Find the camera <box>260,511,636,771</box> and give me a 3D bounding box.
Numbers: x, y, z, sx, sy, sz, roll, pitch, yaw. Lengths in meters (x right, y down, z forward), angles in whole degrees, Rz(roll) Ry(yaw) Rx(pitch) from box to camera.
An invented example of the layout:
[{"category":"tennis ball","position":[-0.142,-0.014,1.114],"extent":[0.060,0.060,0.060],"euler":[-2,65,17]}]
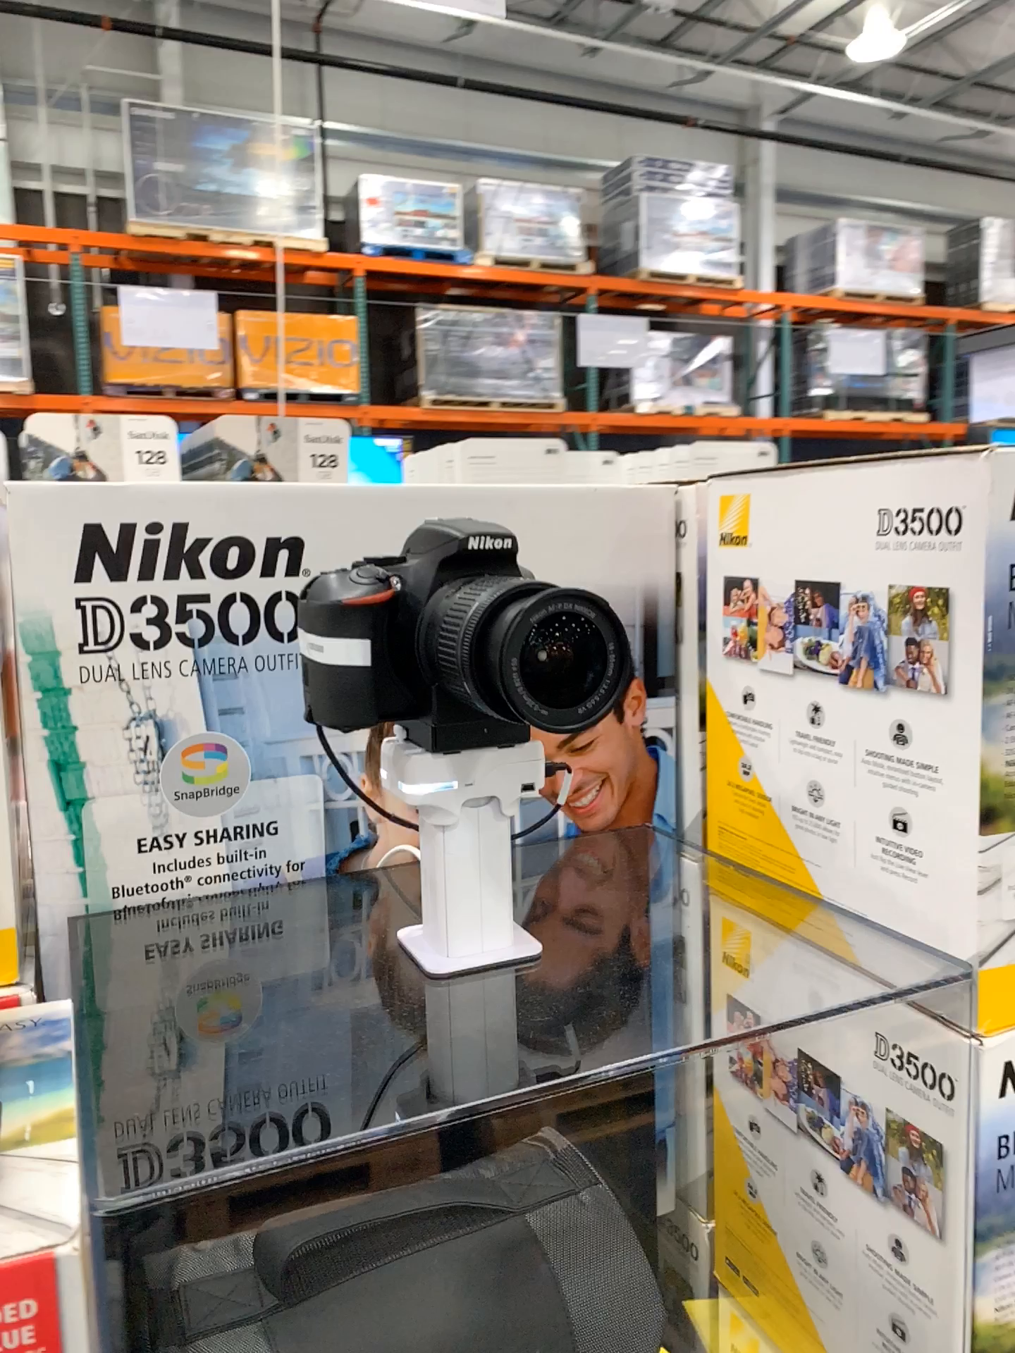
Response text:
[{"category":"camera","position":[-0.035,-0.026,0.494],"extent":[0.130,0.100,0.150],"euler":[-4,8,-24]}]
